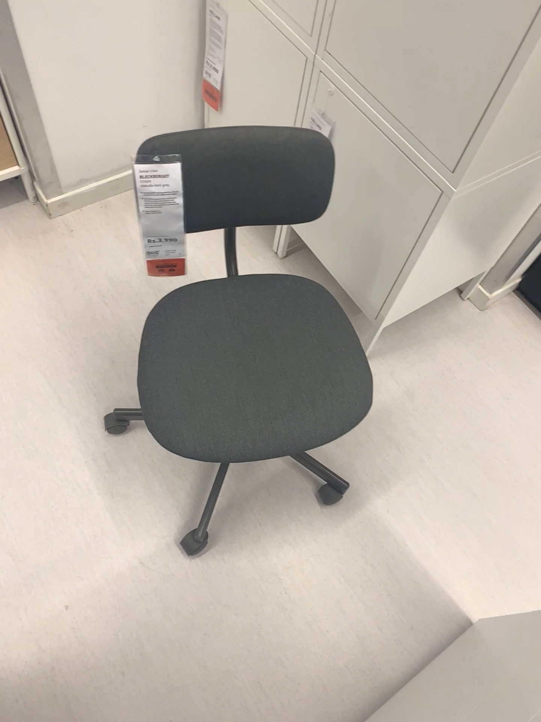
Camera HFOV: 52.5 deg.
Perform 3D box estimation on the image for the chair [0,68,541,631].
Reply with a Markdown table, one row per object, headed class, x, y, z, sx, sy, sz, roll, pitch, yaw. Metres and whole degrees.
| class | x | y | z | sx | sy | sz | roll | pitch | yaw |
| --- | --- | --- | --- | --- | --- | --- | --- | --- | --- |
| chair | -0.033 | 0.008 | 1.184 | 0.720 | 0.679 | 0.711 | 35 | 63 | 12 |
